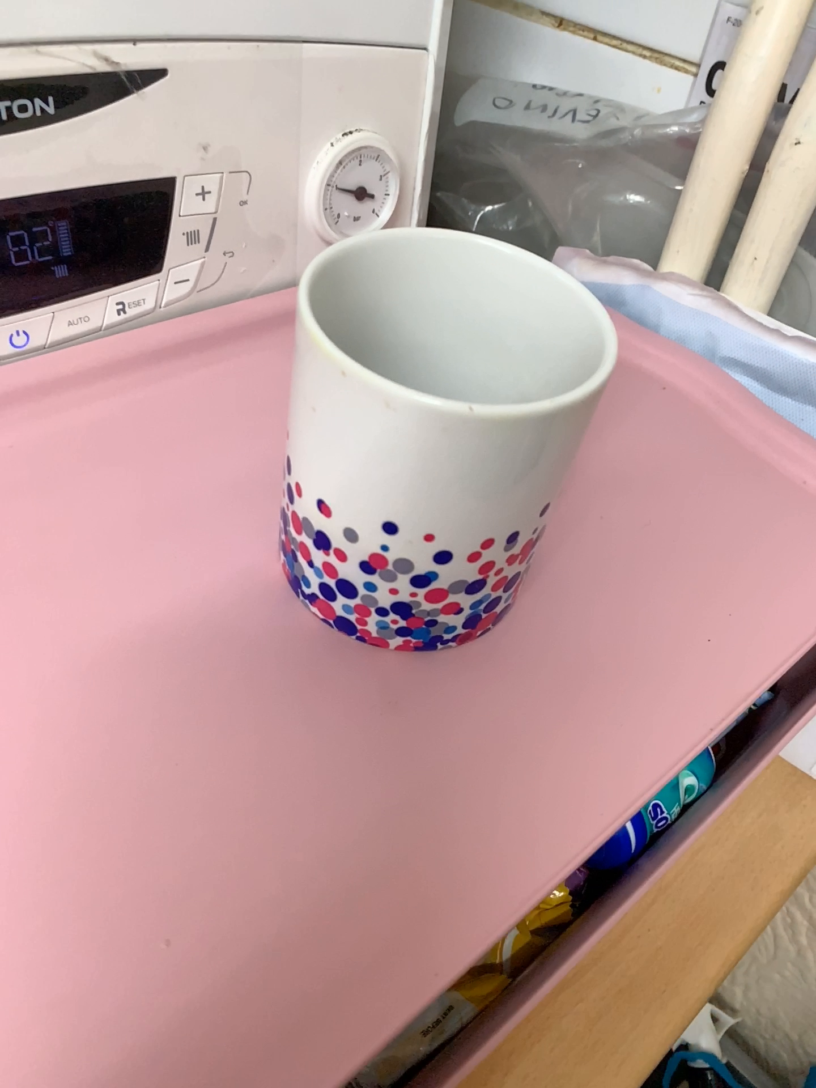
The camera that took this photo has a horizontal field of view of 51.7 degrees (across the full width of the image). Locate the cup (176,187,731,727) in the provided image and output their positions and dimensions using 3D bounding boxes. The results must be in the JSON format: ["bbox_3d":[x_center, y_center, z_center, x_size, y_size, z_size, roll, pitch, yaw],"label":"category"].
[{"bbox_3d":[0.011,-0.033,0.240,0.121,0.089,0.080,-30,55,-35],"label":"cup"}]
